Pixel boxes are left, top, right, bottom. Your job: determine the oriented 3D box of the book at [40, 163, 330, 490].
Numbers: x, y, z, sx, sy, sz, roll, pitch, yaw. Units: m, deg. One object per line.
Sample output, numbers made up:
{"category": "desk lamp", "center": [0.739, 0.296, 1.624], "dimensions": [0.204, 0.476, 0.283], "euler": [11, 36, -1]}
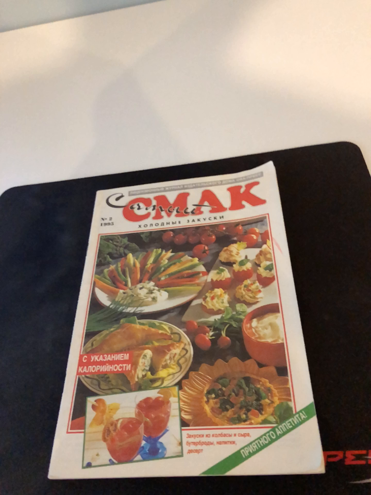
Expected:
{"category": "book", "center": [-0.005, 0.037, 0.292], "dimensions": [0.160, 0.010, 0.231], "euler": [-7, 55, 9]}
